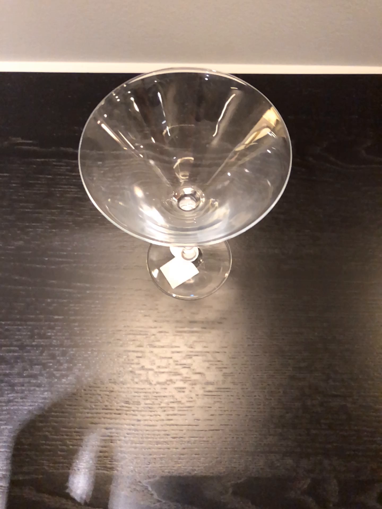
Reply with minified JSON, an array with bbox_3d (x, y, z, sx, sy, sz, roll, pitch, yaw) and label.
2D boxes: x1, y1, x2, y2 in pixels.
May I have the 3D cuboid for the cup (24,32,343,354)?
[{"bbox_3d":[-0.006,-0.029,0.311,0.130,0.160,0.120,1,69,-1],"label":"cup"}]
